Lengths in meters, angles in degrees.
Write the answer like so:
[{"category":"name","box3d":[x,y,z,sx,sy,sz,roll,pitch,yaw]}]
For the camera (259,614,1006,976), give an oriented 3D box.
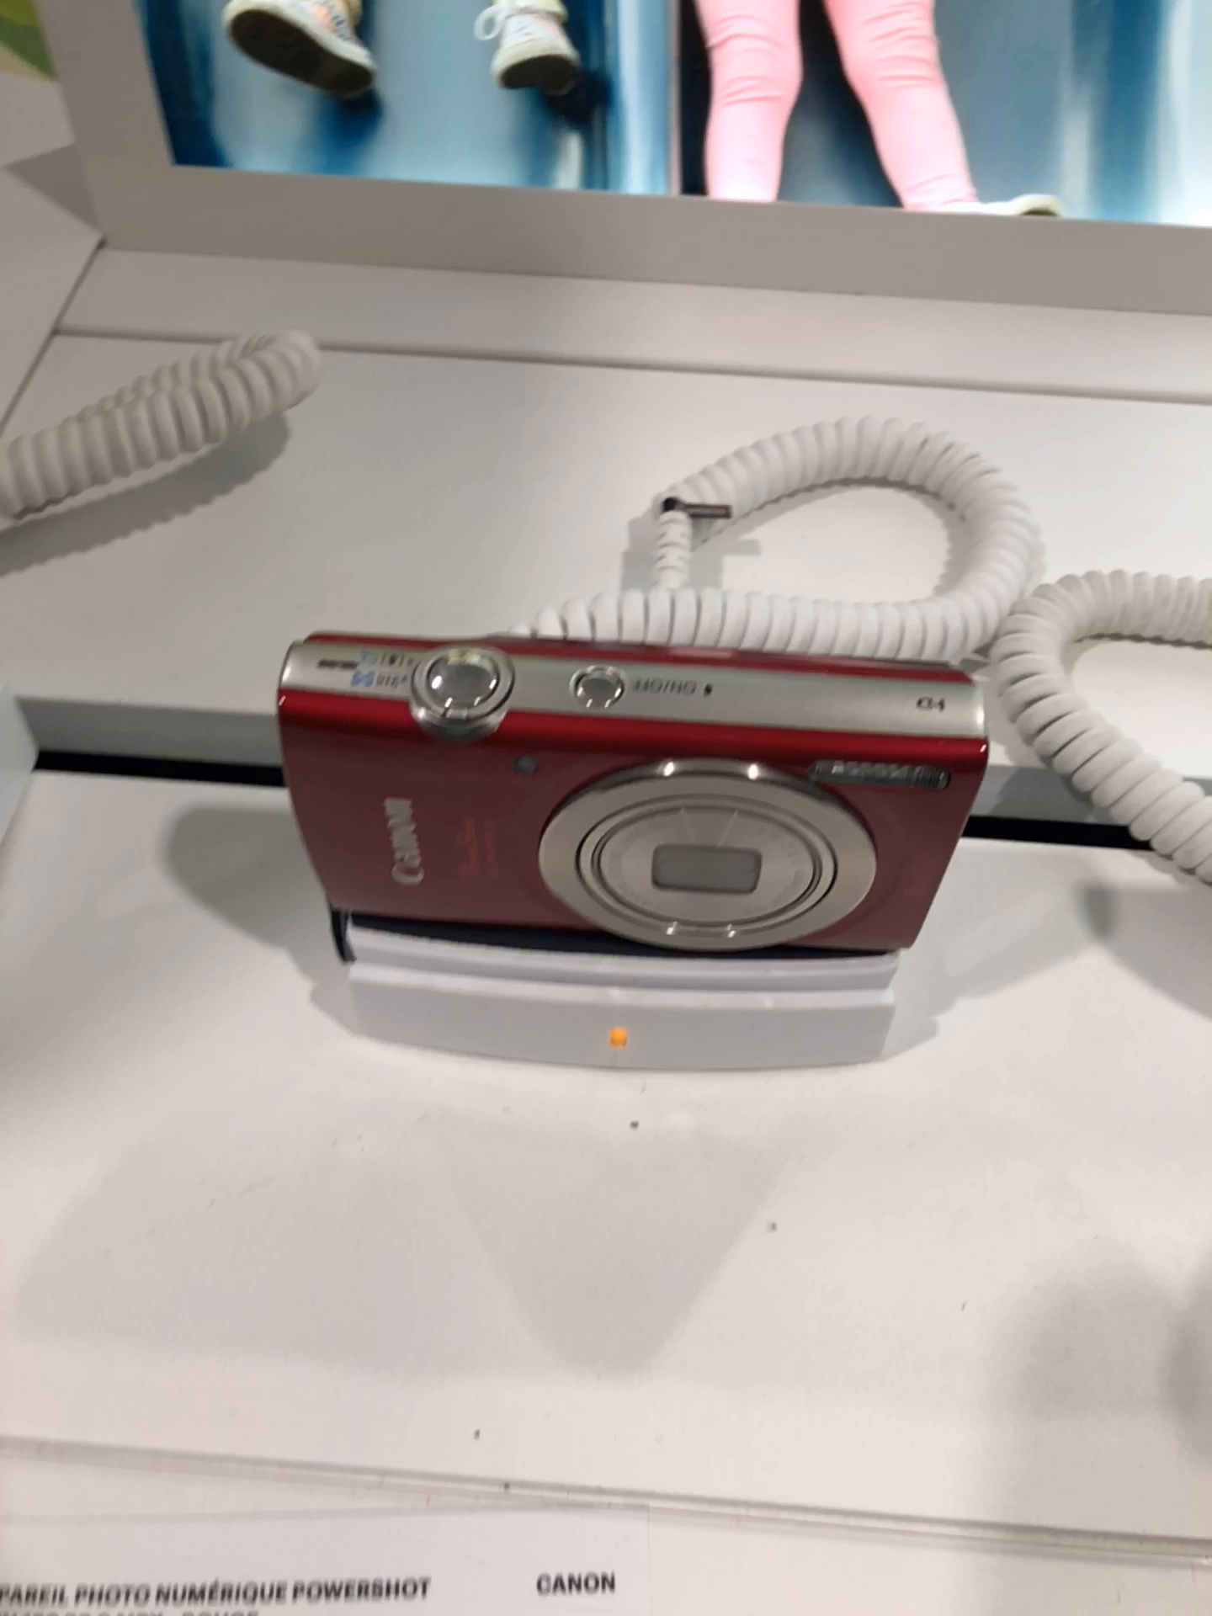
[{"category":"camera","box3d":[0.003,0.000,0.194,0.093,0.050,0.022,3,52,1]}]
